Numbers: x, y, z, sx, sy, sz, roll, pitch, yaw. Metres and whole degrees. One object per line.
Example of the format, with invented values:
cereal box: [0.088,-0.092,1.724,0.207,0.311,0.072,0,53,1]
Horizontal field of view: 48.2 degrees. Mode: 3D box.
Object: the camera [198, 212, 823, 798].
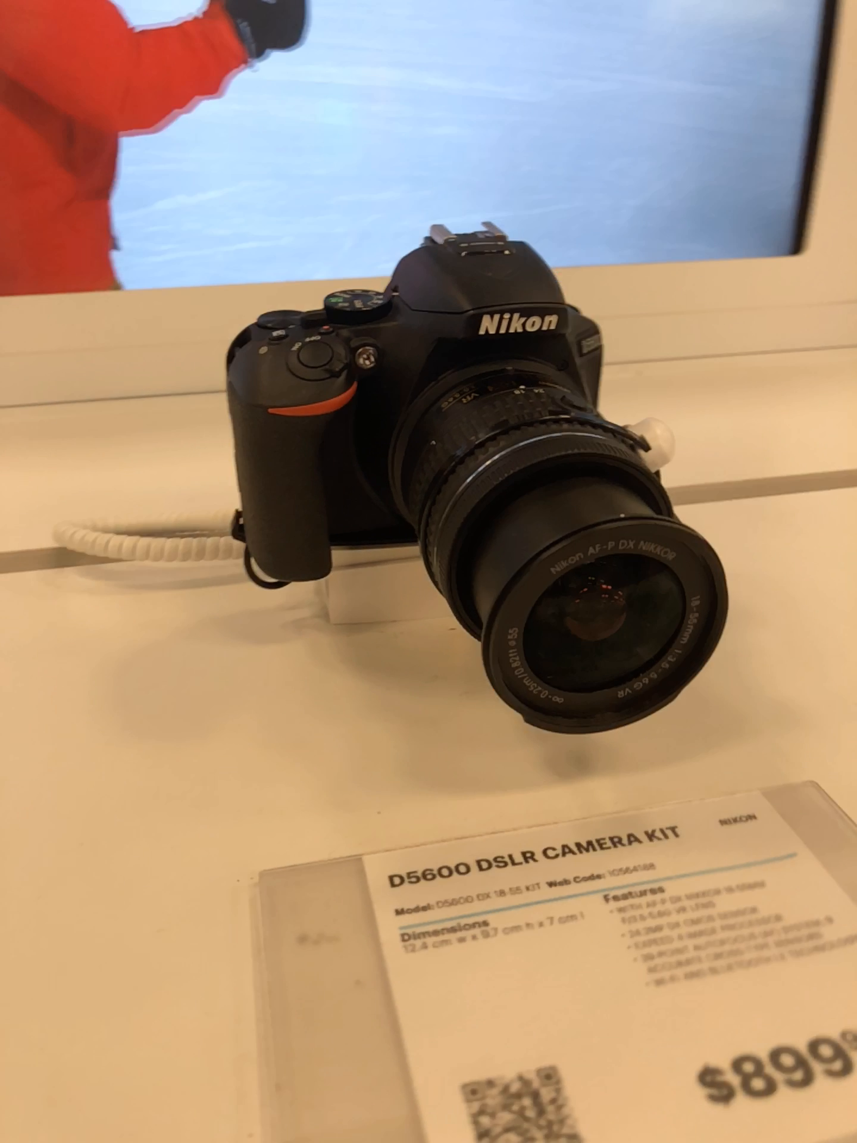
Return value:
camera: [0.001,-0.041,0.292,0.120,0.090,0.191,-7,32,-13]
